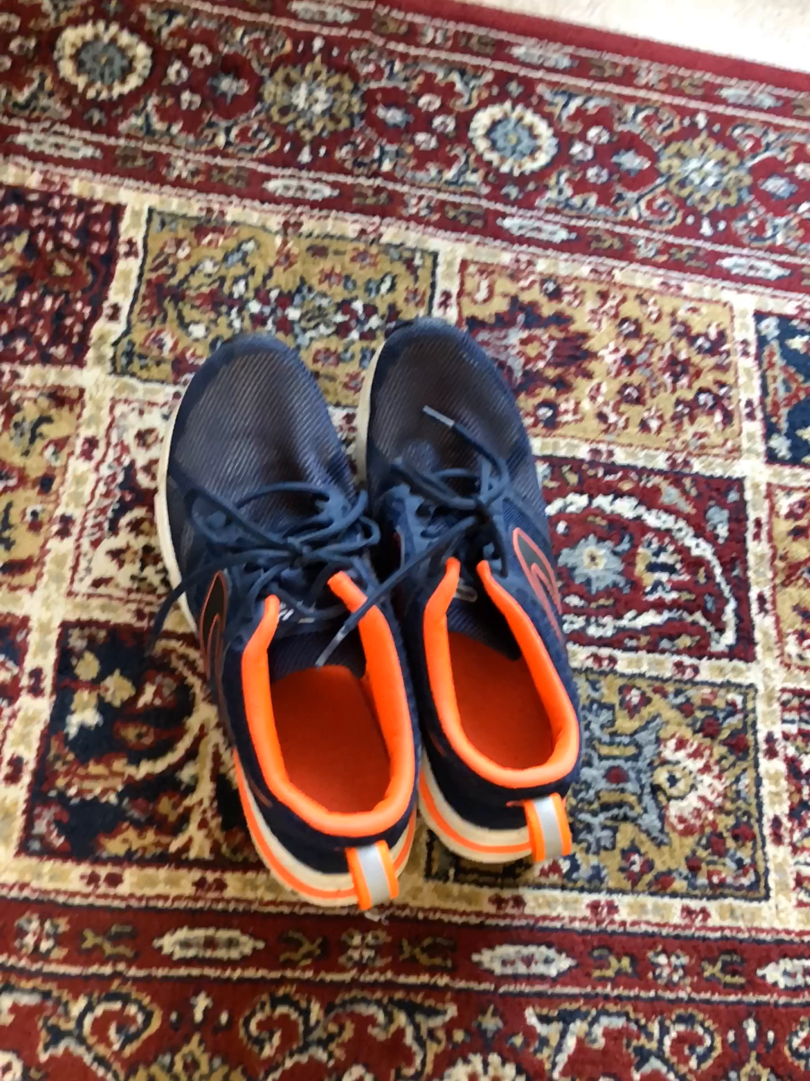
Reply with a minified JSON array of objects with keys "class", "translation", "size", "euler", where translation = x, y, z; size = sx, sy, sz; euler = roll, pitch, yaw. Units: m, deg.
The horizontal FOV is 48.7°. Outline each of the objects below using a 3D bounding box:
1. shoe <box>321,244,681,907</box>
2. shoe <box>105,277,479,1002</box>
[{"class":"shoe","translation":[0.034,0.016,0.504],"size":[0.120,0.130,0.331],"euler":[-6,72,-9]},{"class":"shoe","translation":[-0.069,0.043,0.483],"size":[0.120,0.130,0.331],"euler":[-9,73,-11]}]
